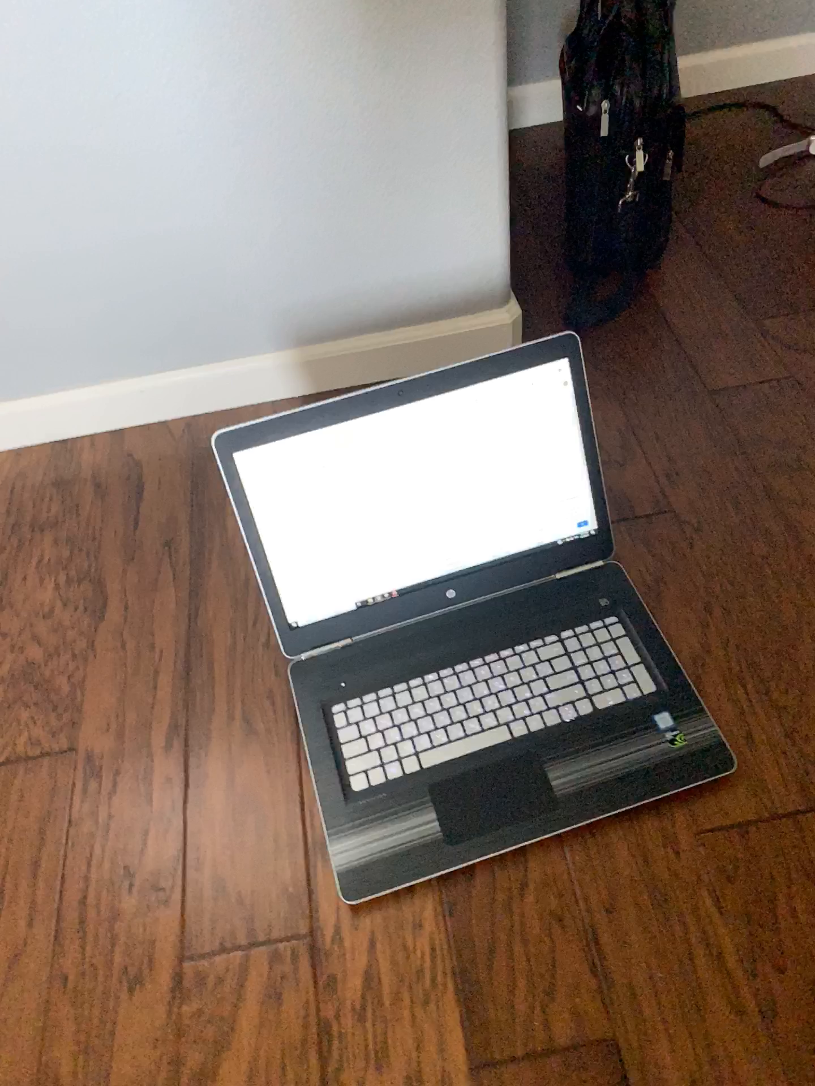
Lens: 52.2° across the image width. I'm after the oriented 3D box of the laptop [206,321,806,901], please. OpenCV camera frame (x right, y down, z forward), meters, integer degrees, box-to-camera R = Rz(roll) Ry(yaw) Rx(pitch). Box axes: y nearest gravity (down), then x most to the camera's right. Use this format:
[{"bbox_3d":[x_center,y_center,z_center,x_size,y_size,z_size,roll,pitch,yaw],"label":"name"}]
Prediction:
[{"bbox_3d":[0.063,0.047,0.843,0.410,0.233,0.424,-17,52,-6],"label":"laptop"}]
